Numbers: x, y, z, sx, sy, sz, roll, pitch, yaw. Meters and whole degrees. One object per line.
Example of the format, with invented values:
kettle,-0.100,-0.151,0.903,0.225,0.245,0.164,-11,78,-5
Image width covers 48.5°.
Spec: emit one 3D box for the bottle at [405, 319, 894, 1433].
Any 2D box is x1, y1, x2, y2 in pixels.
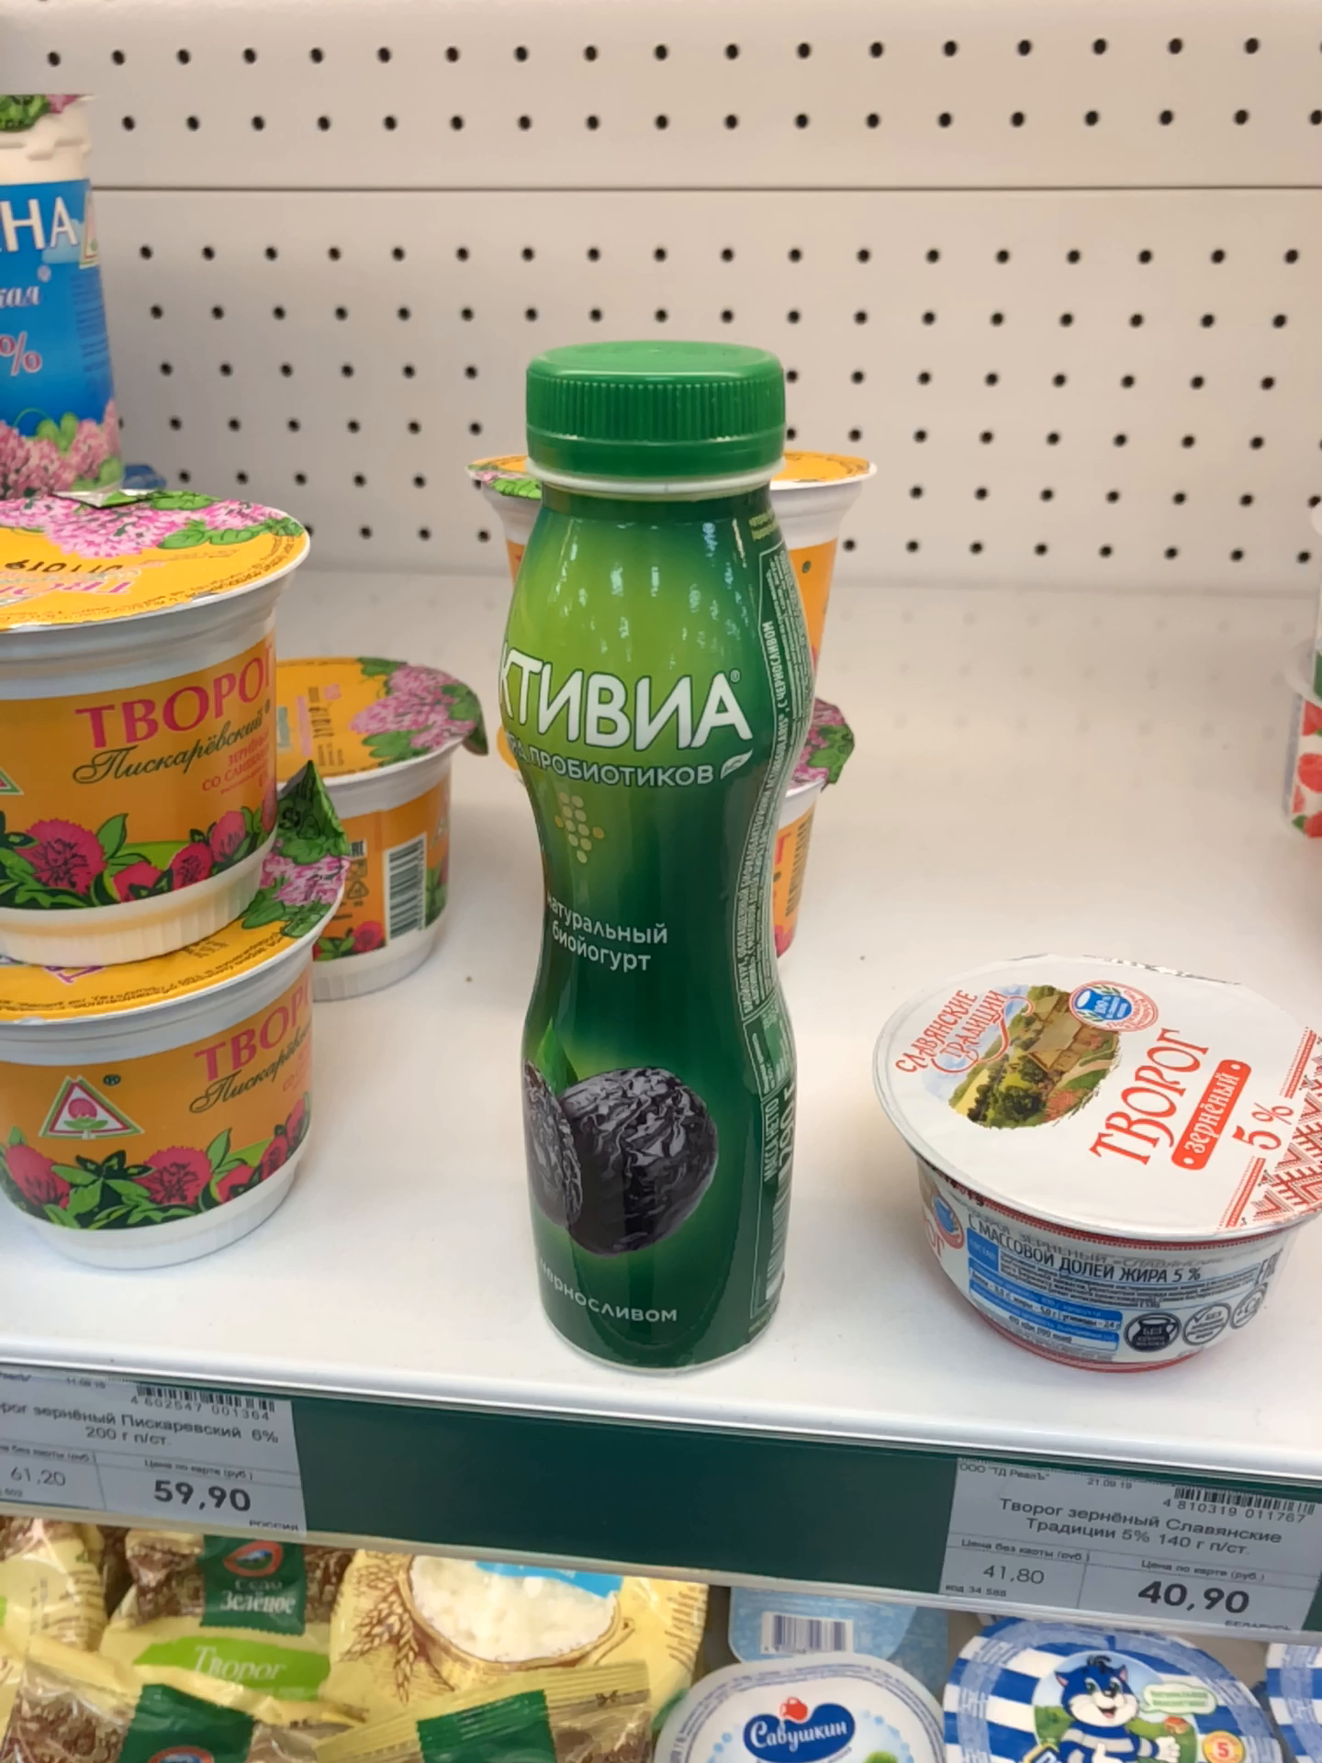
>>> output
bottle,0.000,0.003,0.261,0.050,0.185,0.054,-1,28,0
